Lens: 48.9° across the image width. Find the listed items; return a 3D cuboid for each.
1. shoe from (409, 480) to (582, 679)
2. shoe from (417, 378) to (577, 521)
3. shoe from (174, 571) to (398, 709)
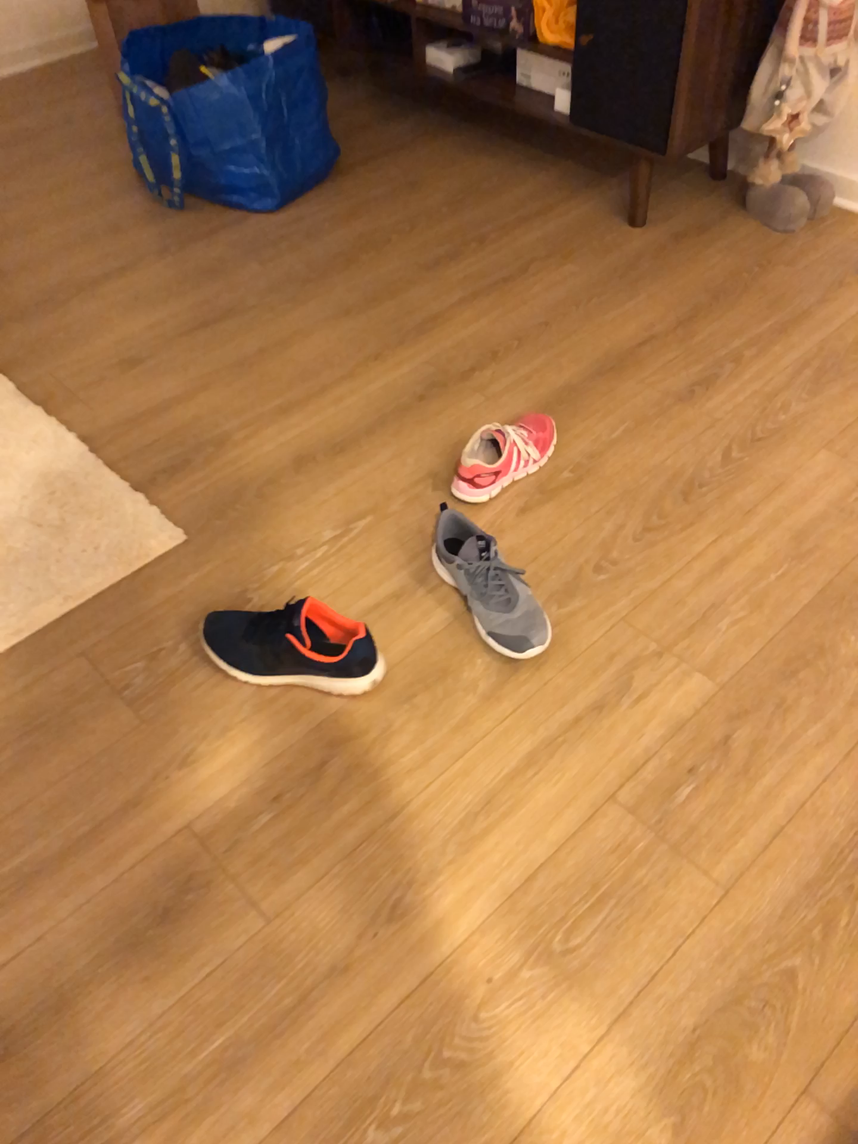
[{"bbox_3d":[0.098,0.004,1.500,0.130,0.109,0.307,-22,49,-17],"label":"shoe"},{"bbox_3d":[0.128,-0.232,1.744,0.140,0.089,0.281,34,57,30],"label":"shoe"},{"bbox_3d":[-0.212,0.101,1.441,0.300,0.099,0.131,9,48,11],"label":"shoe"}]
